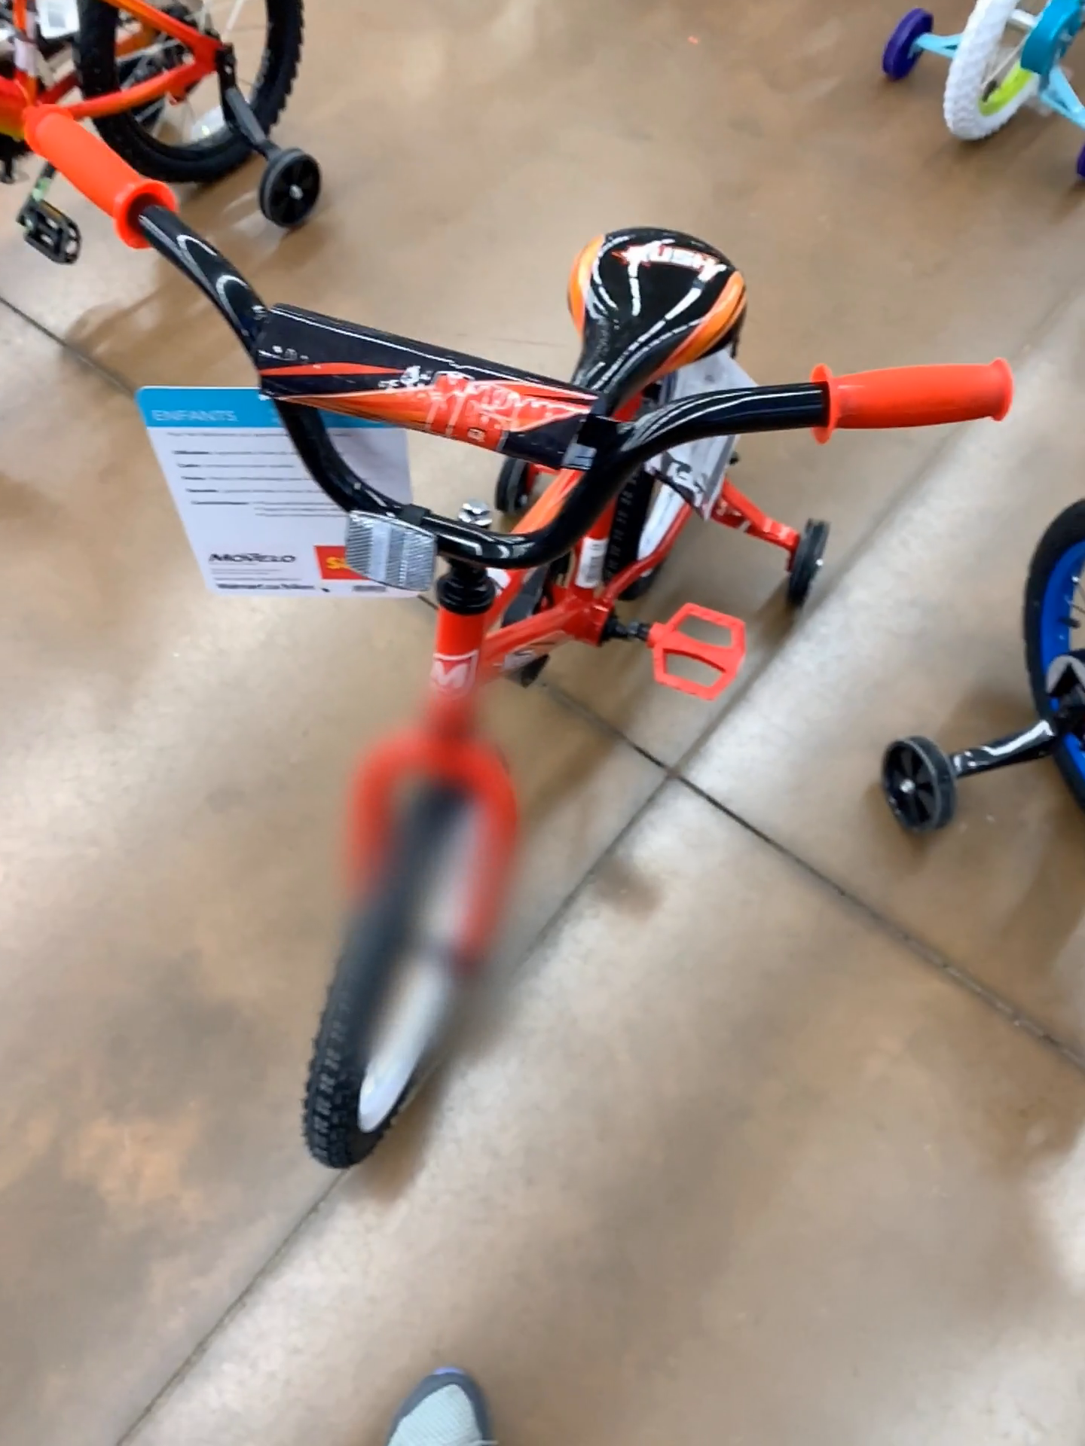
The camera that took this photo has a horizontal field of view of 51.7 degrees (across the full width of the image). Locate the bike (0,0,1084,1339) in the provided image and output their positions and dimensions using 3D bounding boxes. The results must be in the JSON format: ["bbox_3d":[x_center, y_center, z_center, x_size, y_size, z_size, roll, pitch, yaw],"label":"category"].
[{"bbox_3d":[0.050,-0.162,0.998,0.585,0.850,1.073,20,60,10],"label":"bike"}]
